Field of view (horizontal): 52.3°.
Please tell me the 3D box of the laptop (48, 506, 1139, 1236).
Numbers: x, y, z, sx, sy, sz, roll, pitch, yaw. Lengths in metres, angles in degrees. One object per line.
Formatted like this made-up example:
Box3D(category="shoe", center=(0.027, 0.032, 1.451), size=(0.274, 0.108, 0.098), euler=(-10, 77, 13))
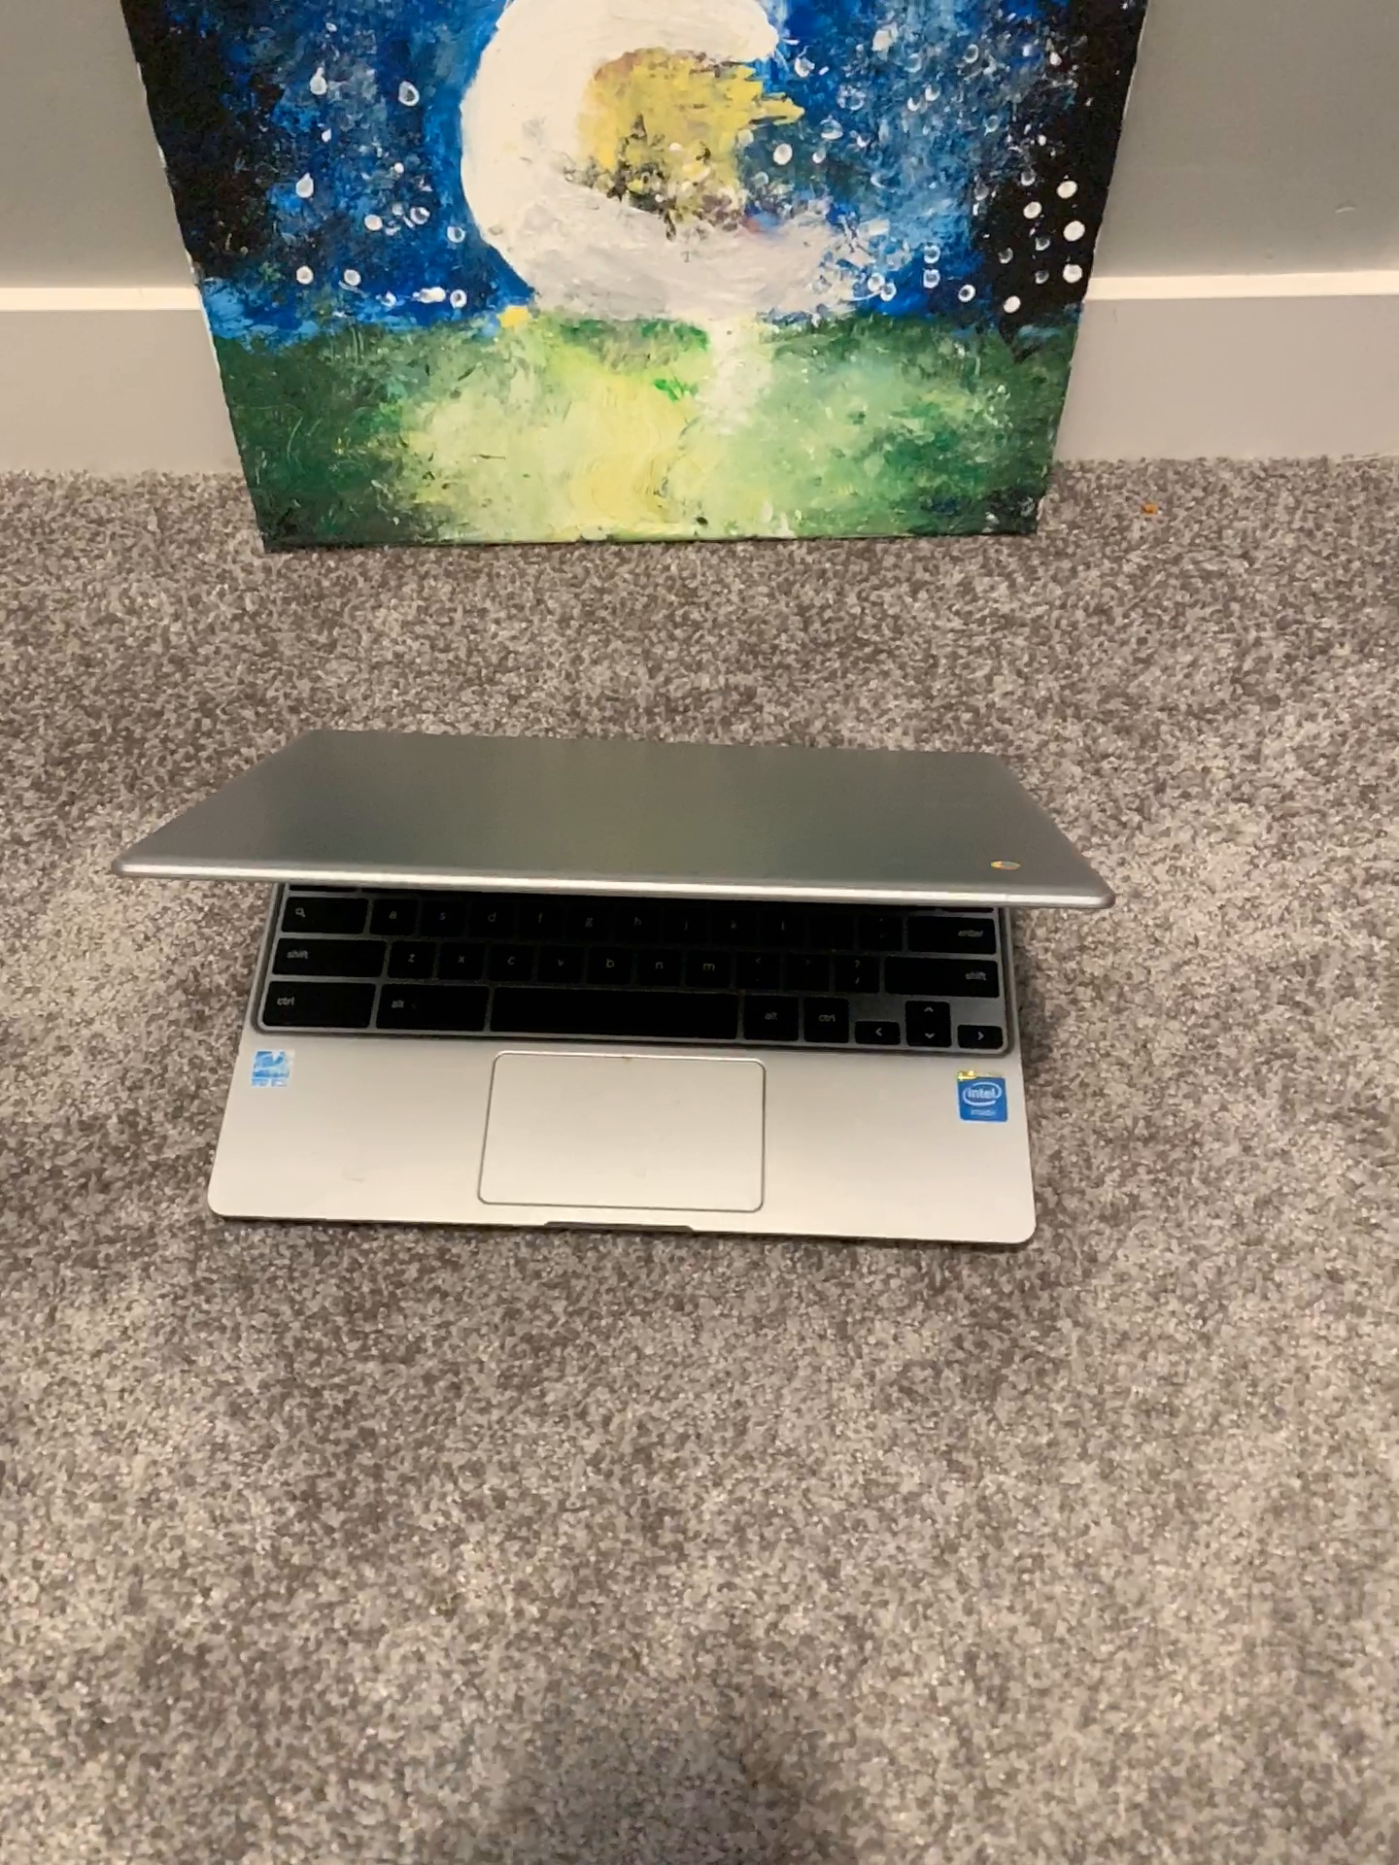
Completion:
Box3D(category="laptop", center=(-0.026, -0.018, 0.495), size=(0.294, 0.144, 0.200), euler=(2, 62, 0))
